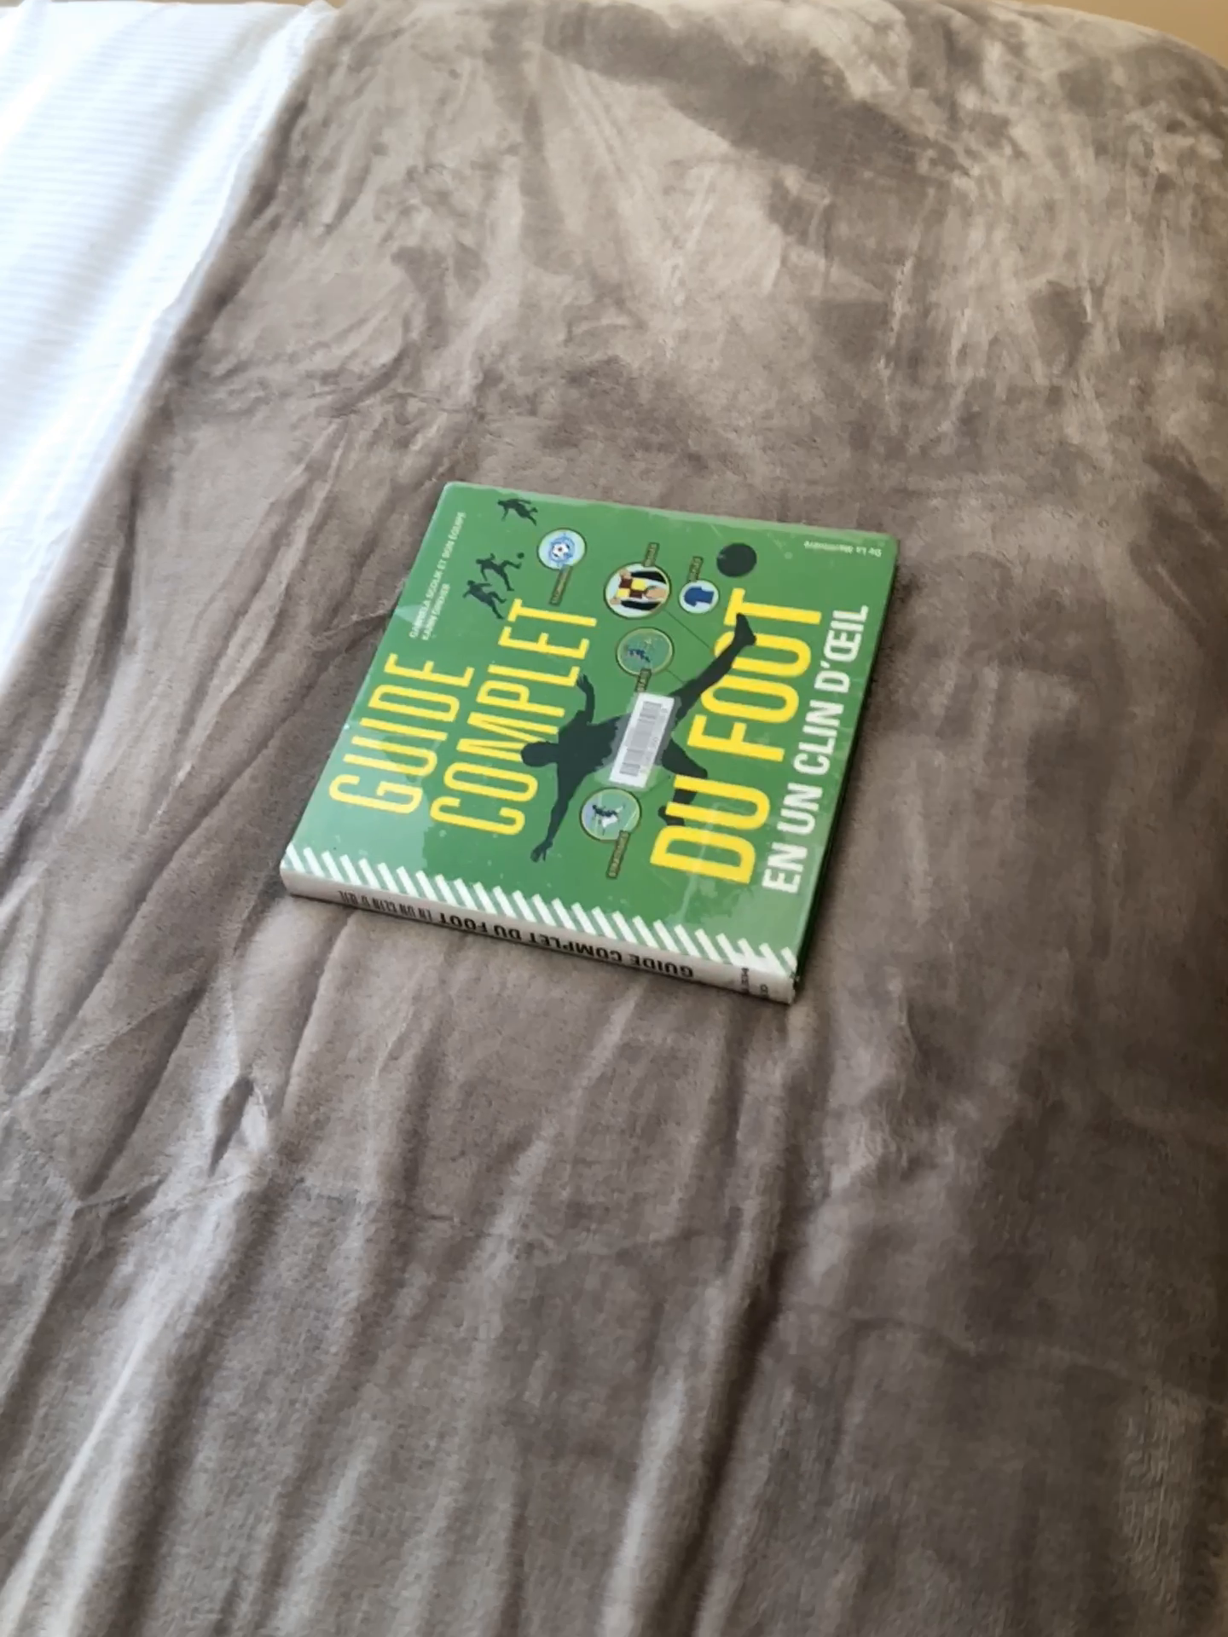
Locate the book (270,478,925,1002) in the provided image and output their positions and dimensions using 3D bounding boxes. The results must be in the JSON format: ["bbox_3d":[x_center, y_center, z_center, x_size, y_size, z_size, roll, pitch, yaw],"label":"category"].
[{"bbox_3d":[0.000,-0.050,0.600,0.238,0.019,0.228,10,62,14],"label":"book"}]
